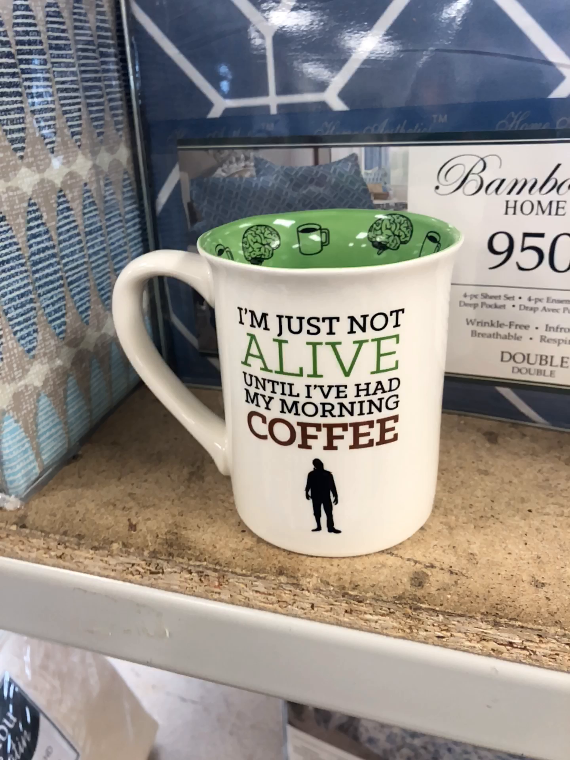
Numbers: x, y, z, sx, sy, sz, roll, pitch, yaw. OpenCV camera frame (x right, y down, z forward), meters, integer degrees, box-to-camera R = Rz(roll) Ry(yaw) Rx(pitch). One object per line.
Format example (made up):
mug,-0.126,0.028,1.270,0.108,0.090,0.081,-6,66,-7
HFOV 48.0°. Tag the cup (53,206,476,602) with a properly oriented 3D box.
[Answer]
cup,0.002,-0.002,0.273,0.138,0.124,0.100,5,25,18
